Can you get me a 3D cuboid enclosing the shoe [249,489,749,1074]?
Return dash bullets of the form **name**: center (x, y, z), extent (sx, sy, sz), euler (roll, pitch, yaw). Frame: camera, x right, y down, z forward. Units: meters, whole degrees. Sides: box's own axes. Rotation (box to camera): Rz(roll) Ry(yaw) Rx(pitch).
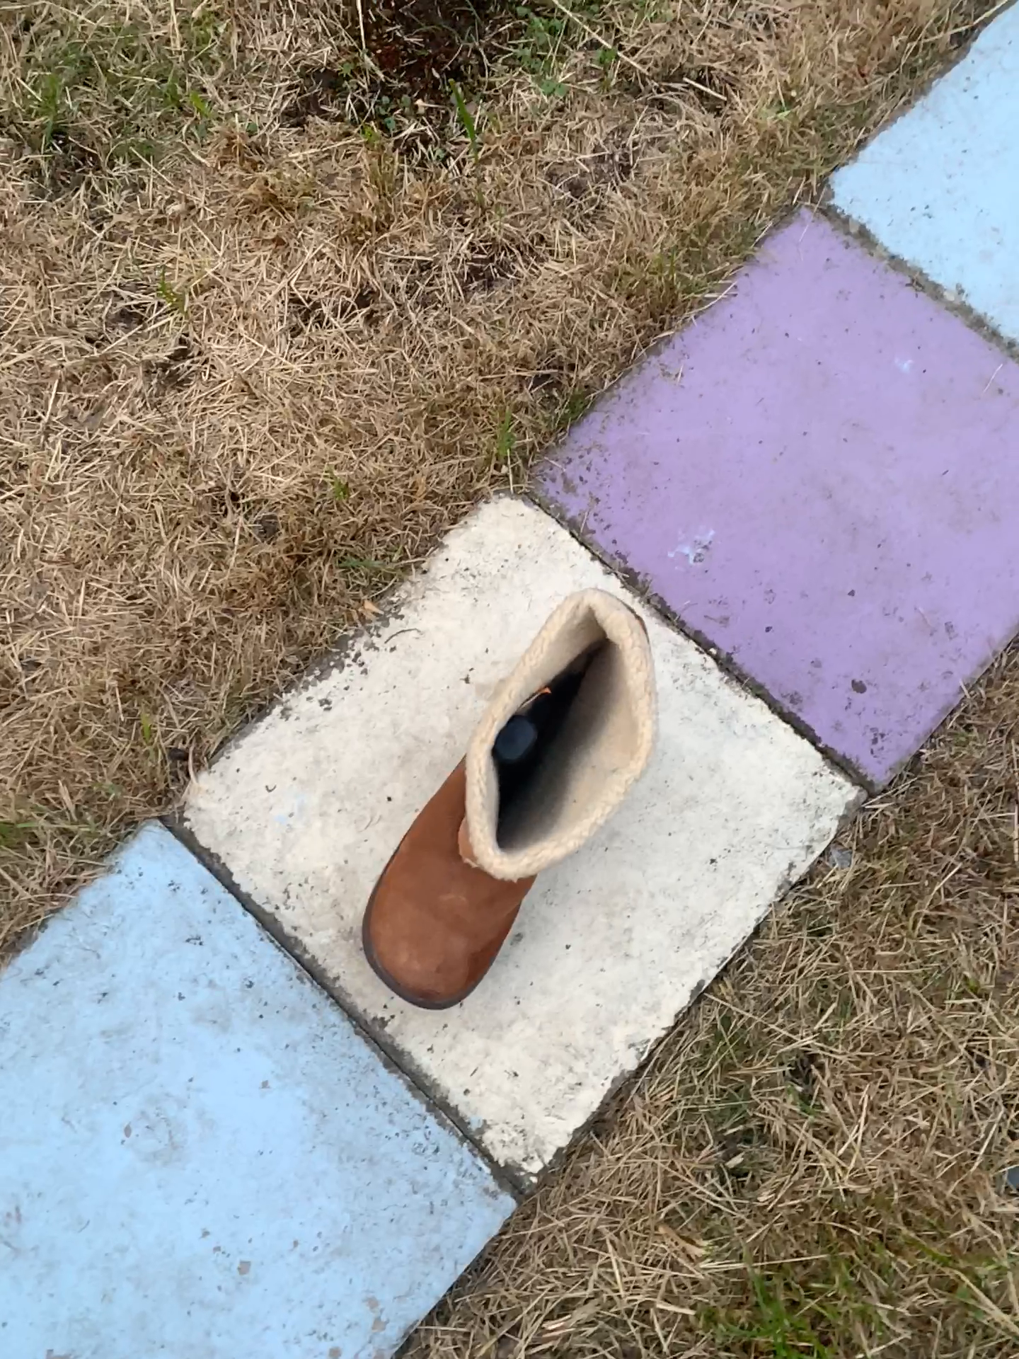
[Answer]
- **shoe**: center (-0.006, 0.075, 0.632), extent (0.110, 0.299, 0.261), euler (33, 76, 6)
